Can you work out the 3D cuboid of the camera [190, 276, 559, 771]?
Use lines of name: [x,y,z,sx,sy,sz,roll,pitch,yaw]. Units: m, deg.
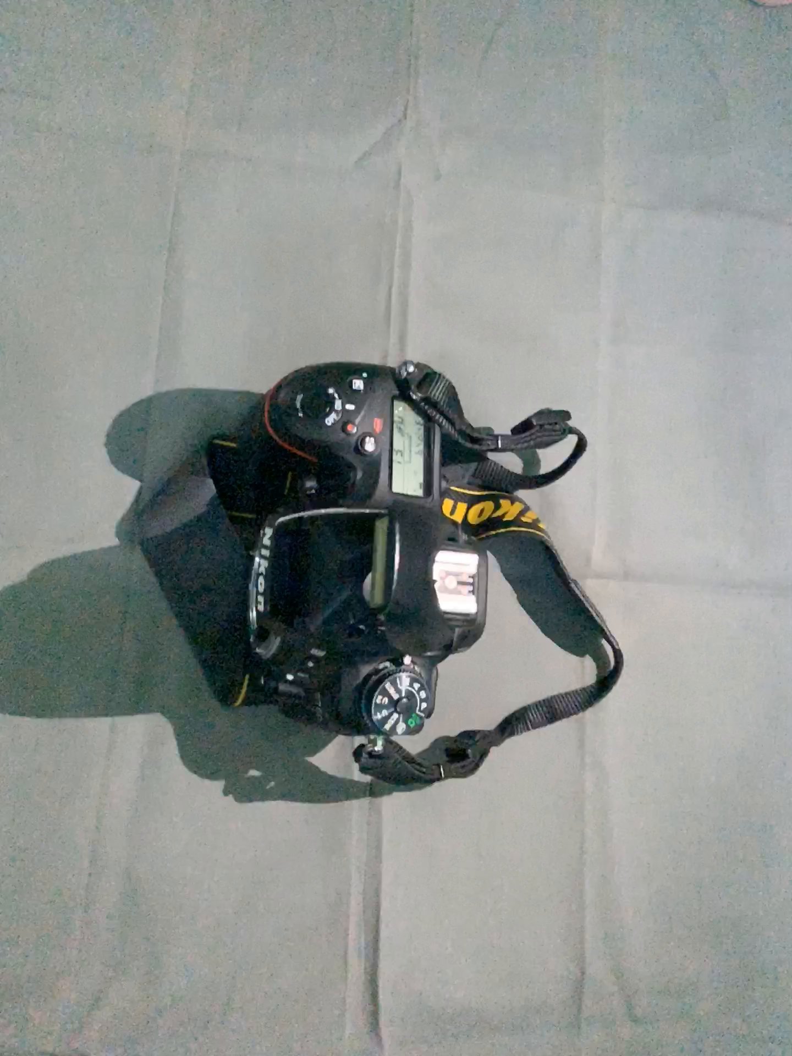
camera: [-0.016,0.009,0.305,0.100,0.126,0.140,7,78,-14]
